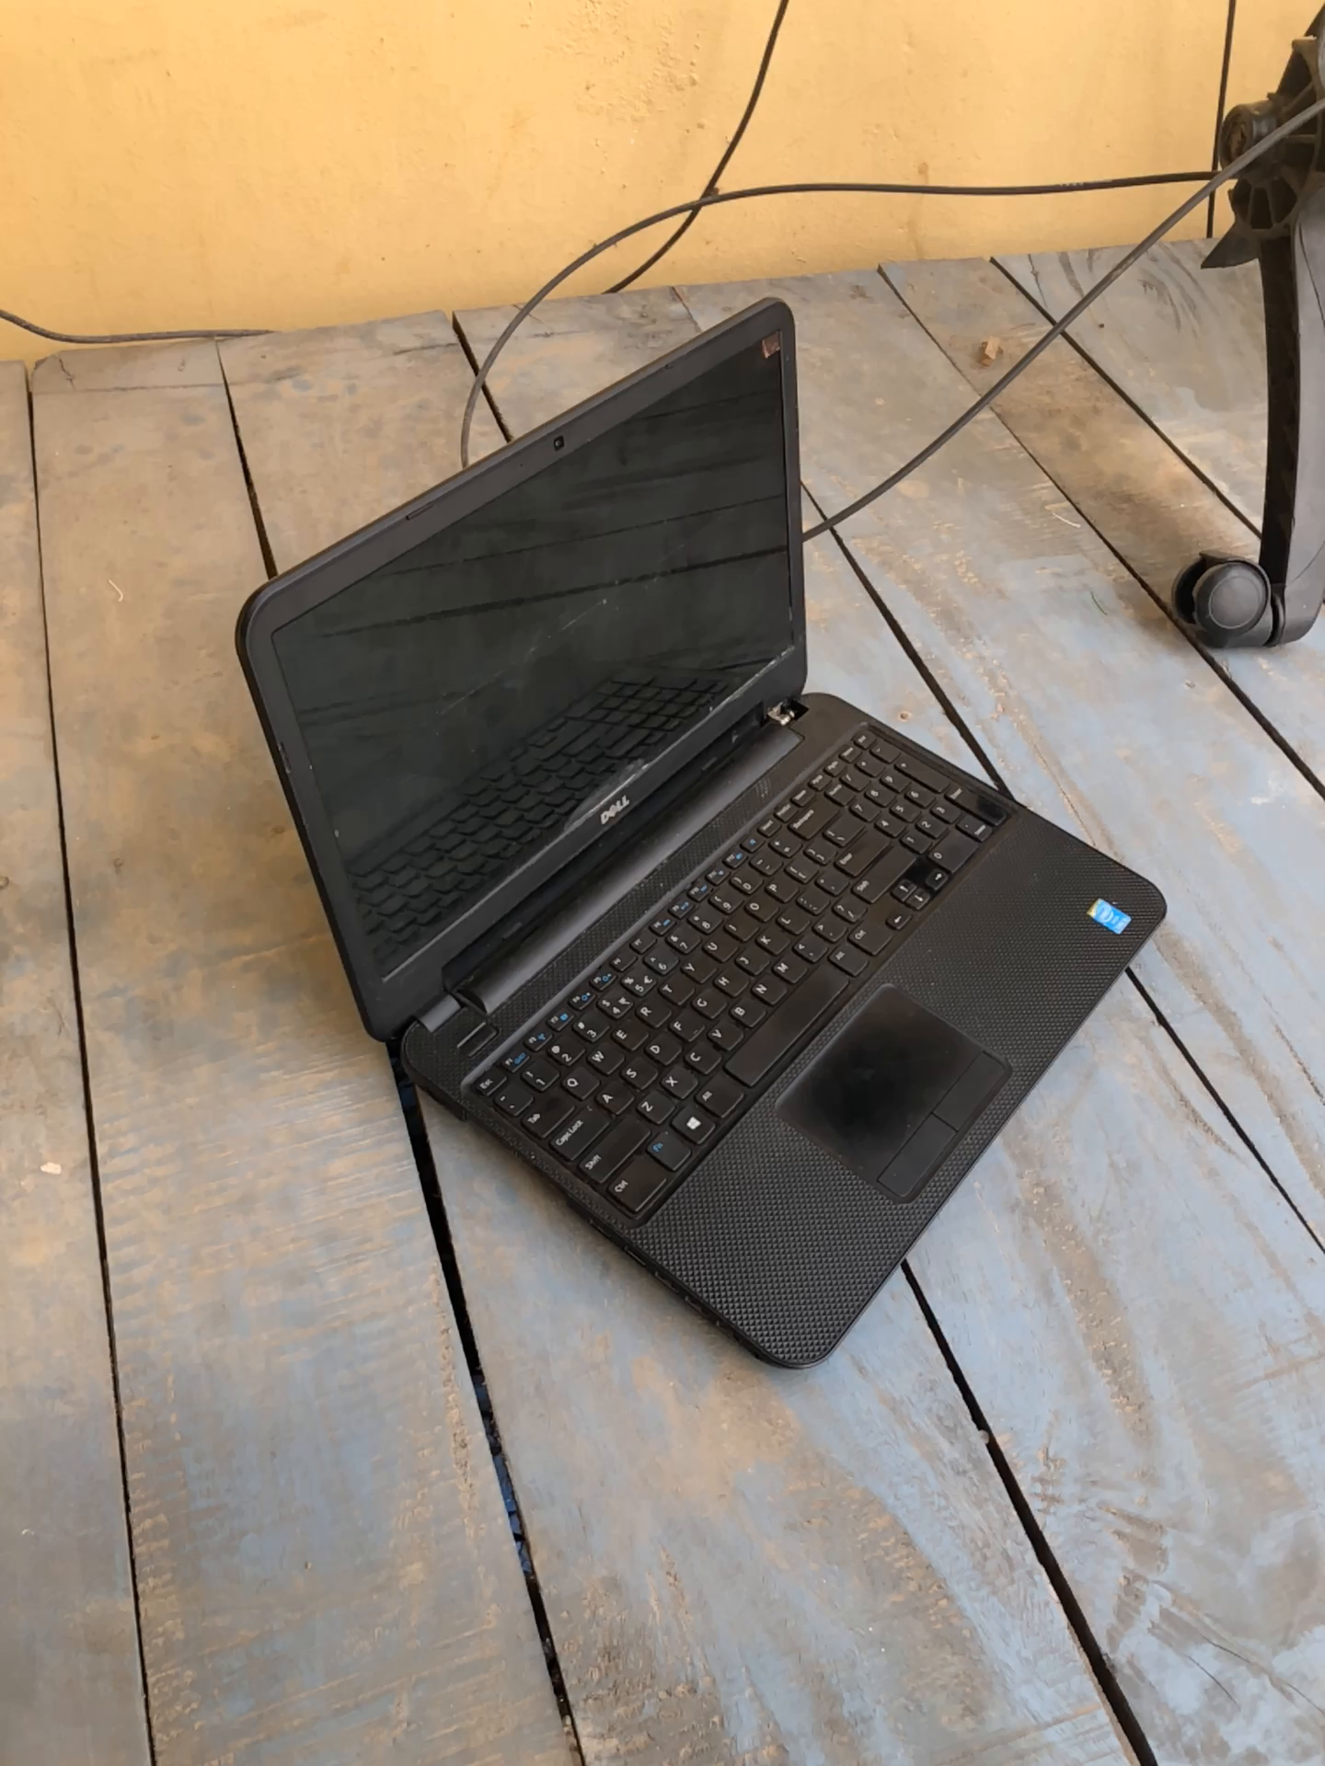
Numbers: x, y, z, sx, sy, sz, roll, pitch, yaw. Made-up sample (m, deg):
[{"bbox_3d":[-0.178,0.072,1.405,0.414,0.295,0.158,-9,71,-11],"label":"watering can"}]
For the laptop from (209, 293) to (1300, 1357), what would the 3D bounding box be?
[{"bbox_3d":[0.047,-0.051,0.664,0.307,0.214,0.332,33,54,22],"label":"laptop"}]
